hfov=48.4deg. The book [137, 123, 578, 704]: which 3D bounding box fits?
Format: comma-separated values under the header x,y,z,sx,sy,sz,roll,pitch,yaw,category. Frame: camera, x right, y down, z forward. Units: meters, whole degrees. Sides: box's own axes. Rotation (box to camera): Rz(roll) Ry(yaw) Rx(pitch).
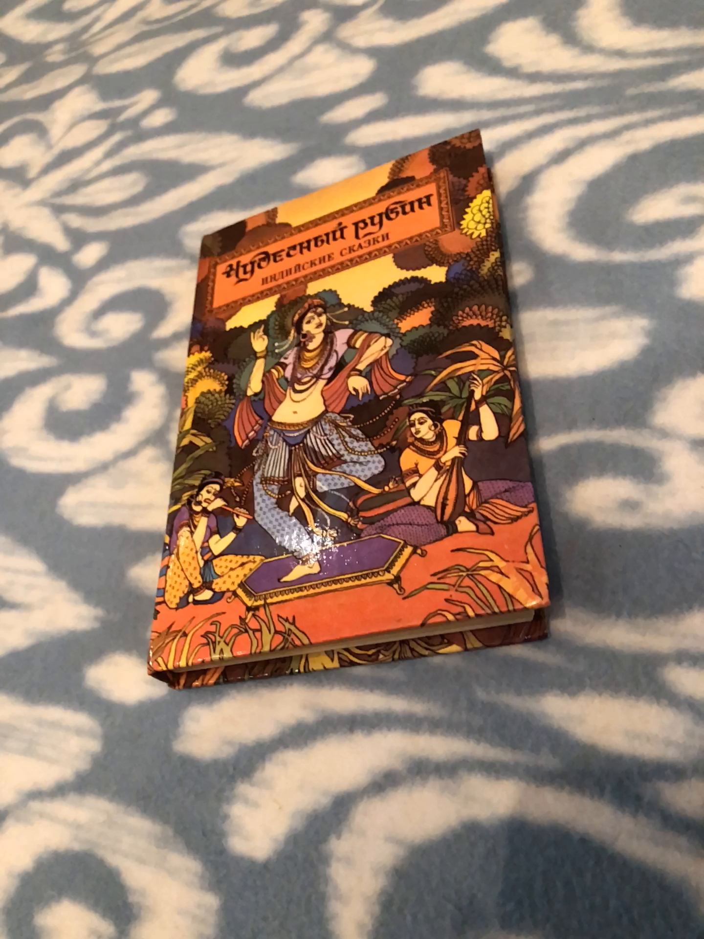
x,y,z,sx,sy,sz,roll,pitch,yaw,category
-0.004,-0.028,0.300,0.140,0.027,0.211,-14,57,21,book
